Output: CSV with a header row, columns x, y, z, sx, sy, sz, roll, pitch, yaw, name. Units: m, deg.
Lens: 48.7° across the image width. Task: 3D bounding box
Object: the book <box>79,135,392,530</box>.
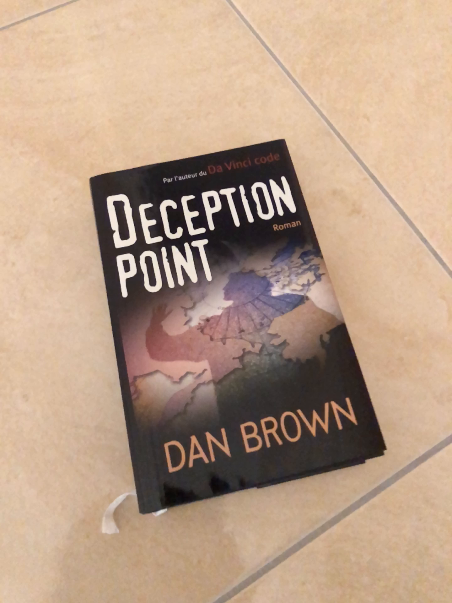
x,y,z,sx,sy,sz,roll,pitch,yaw,name
-0.004,0.008,0.304,0.136,0.037,0.212,-12,70,-4,book
